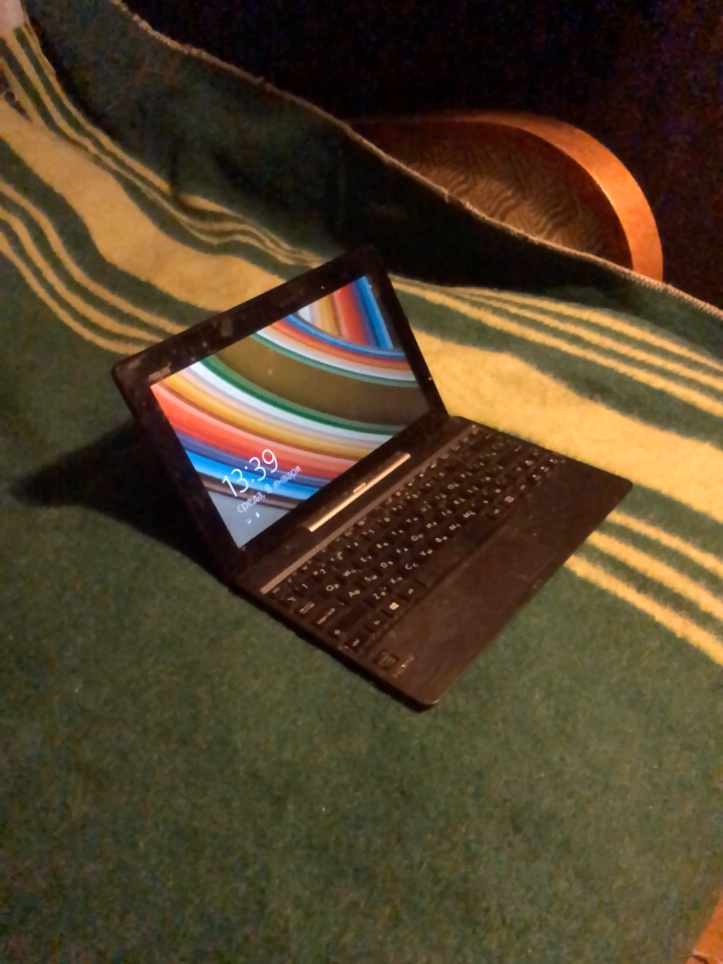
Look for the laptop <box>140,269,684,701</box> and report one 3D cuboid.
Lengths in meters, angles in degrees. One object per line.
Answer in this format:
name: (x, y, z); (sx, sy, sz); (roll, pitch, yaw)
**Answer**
laptop: (0.031, -0.027, 0.565); (0.257, 0.116, 0.258); (27, 46, 31)
